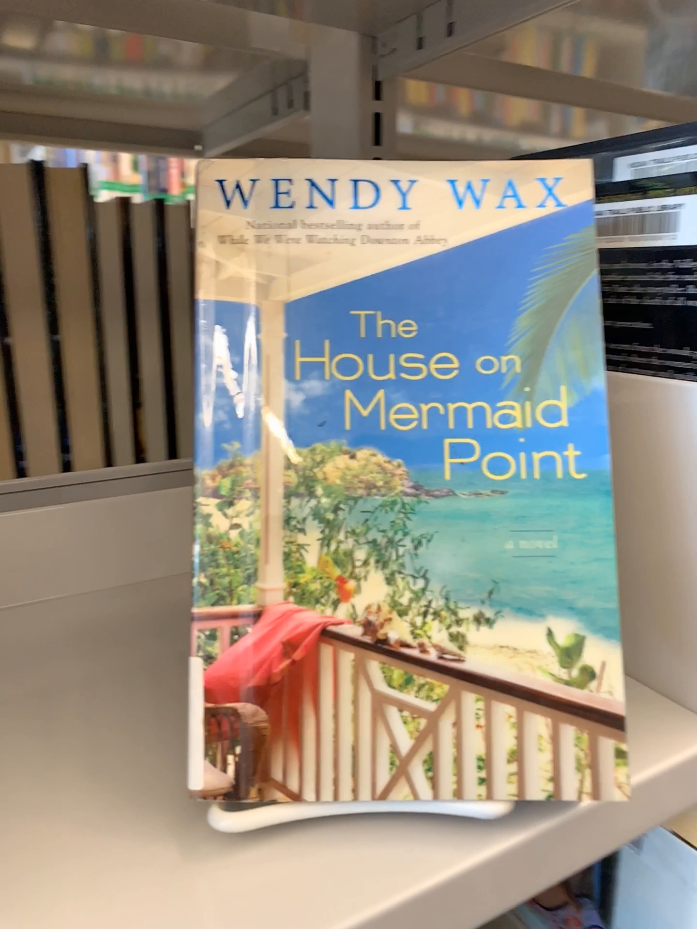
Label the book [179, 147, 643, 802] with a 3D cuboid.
[{"bbox_3d":[0.016,0.000,0.235,0.131,0.193,0.043,-1,-6,0],"label":"book"}]
